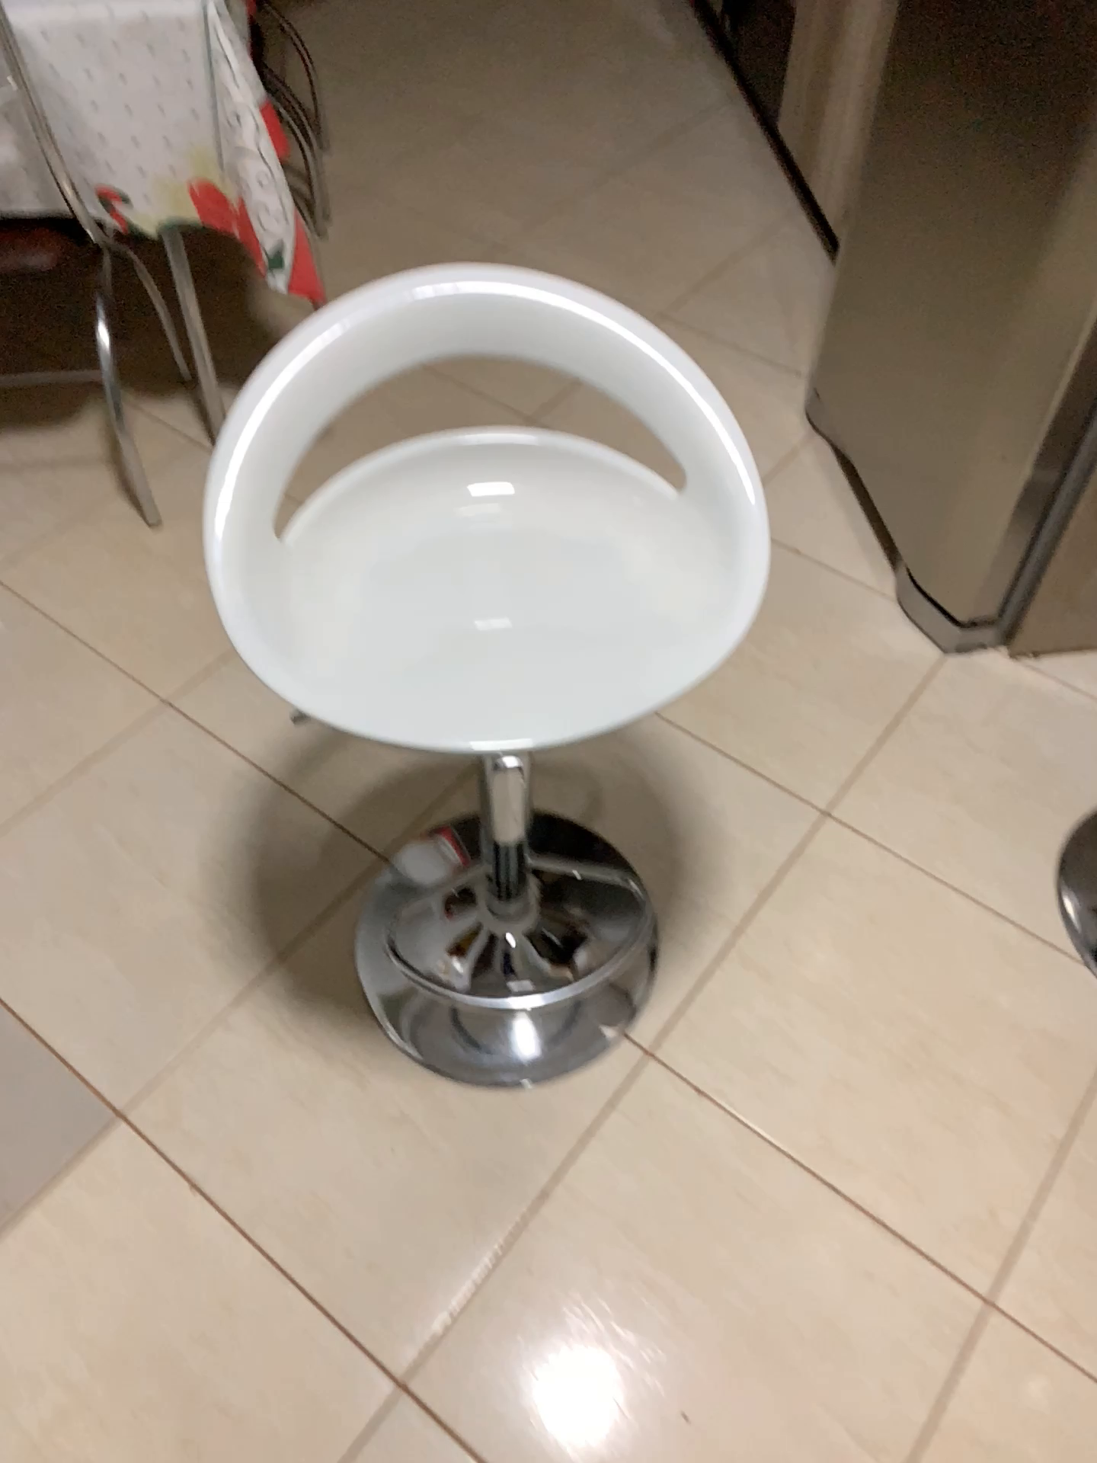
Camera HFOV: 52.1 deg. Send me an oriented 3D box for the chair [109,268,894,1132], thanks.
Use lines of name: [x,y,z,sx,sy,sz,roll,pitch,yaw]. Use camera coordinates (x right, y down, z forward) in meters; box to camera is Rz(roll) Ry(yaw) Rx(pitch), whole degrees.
chair: [-0.045,0.020,1.099,0.470,0.734,0.454,-3,52,-4]
